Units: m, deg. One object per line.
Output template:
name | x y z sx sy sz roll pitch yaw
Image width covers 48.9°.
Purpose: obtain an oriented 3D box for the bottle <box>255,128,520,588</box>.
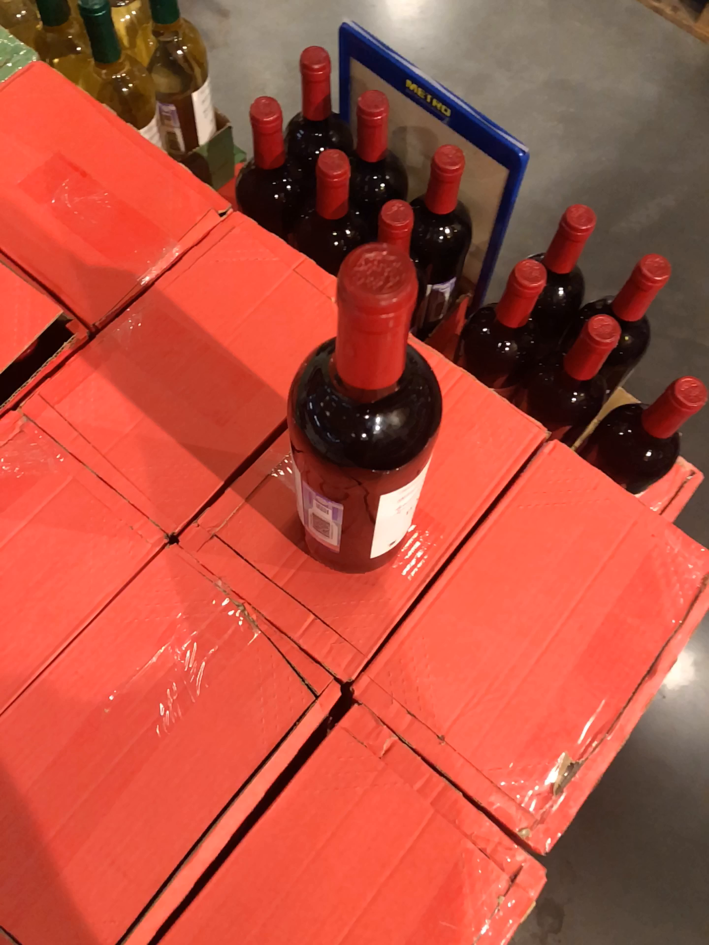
bottle | 0.006 -0.024 0.398 0.080 0.288 0.090 9 68 0
